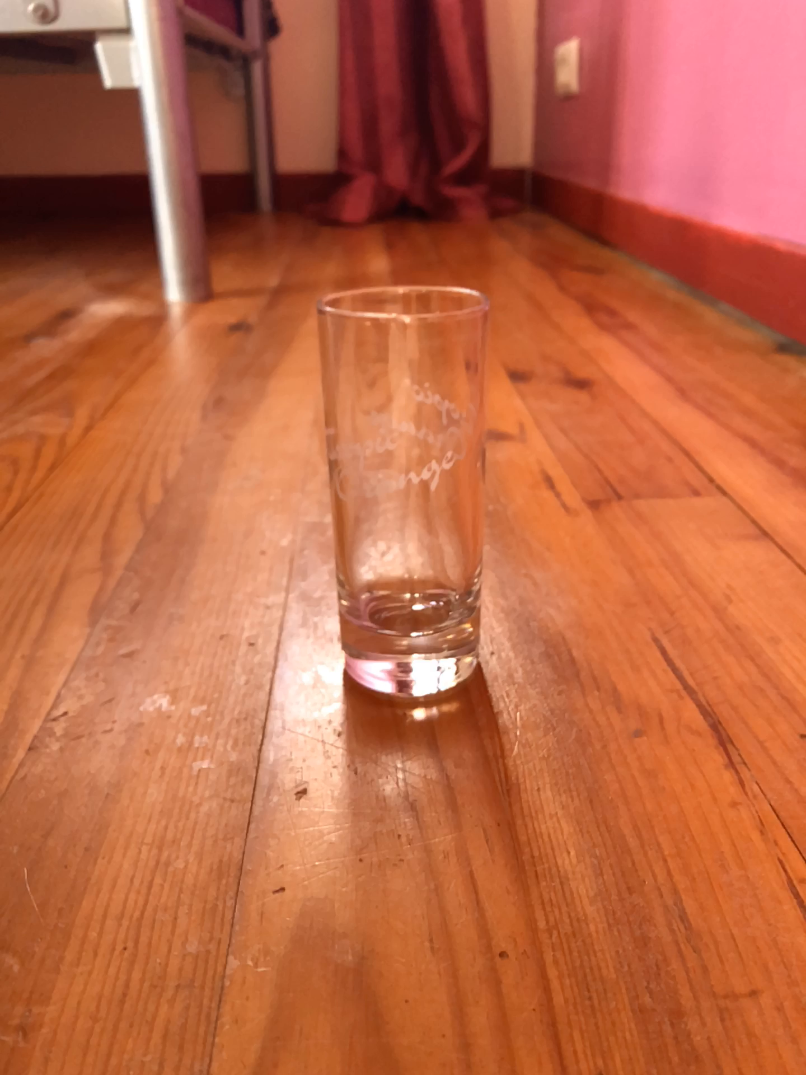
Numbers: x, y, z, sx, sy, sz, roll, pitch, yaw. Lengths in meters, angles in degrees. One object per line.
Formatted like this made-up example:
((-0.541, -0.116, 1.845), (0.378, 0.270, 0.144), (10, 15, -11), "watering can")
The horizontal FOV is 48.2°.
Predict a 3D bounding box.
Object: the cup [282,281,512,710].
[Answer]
((0.002, -0.016, 0.292), (0.056, 0.124, 0.056), (-2, 22, 1), "cup")
